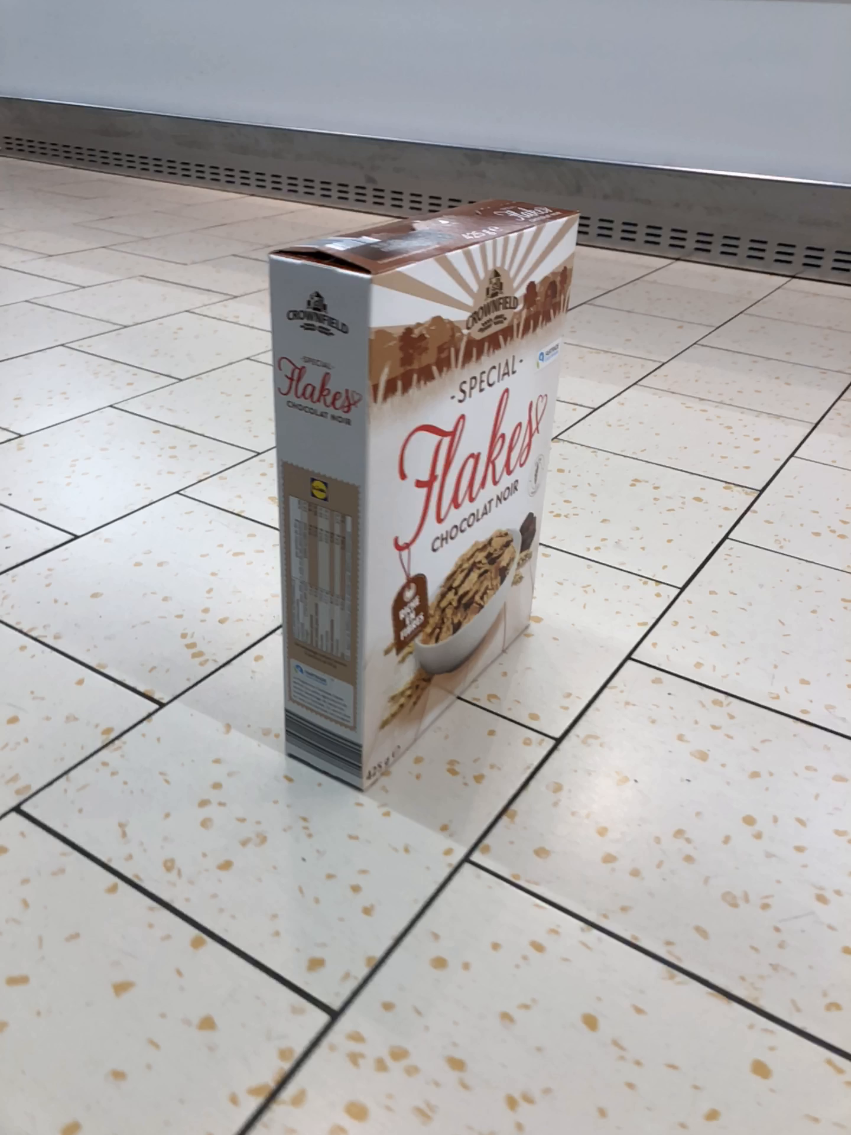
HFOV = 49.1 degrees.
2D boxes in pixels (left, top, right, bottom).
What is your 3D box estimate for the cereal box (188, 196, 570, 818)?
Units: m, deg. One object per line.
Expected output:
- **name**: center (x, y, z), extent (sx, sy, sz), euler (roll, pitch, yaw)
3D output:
- **cereal box**: center (-0.013, -0.041, 0.483), extent (0.070, 0.259, 0.201), euler (18, 33, 27)
